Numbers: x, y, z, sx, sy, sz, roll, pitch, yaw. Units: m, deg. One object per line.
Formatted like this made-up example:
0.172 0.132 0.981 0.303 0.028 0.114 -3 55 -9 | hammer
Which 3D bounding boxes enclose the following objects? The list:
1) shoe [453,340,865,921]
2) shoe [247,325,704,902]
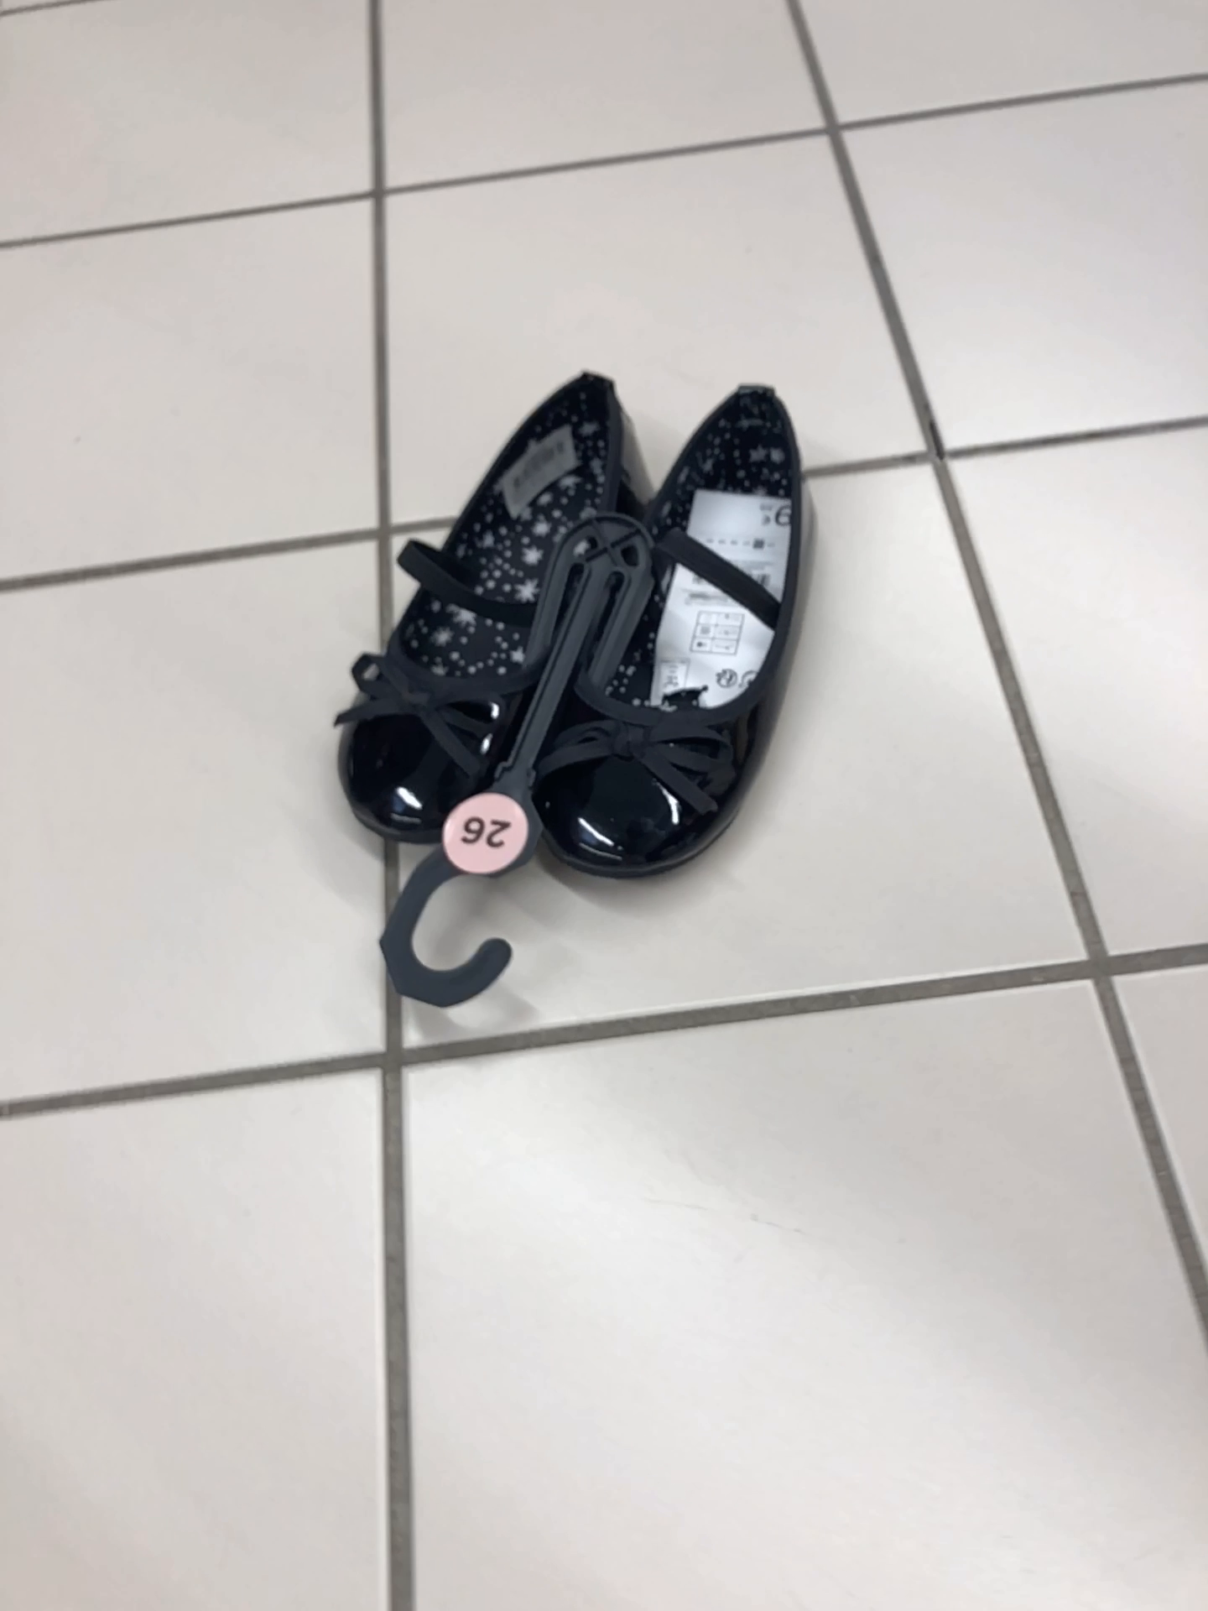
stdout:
0.024 -0.060 0.415 0.074 0.055 0.172 13 61 13 | shoe
-0.031 -0.067 0.427 0.072 0.059 0.174 16 61 15 | shoe
